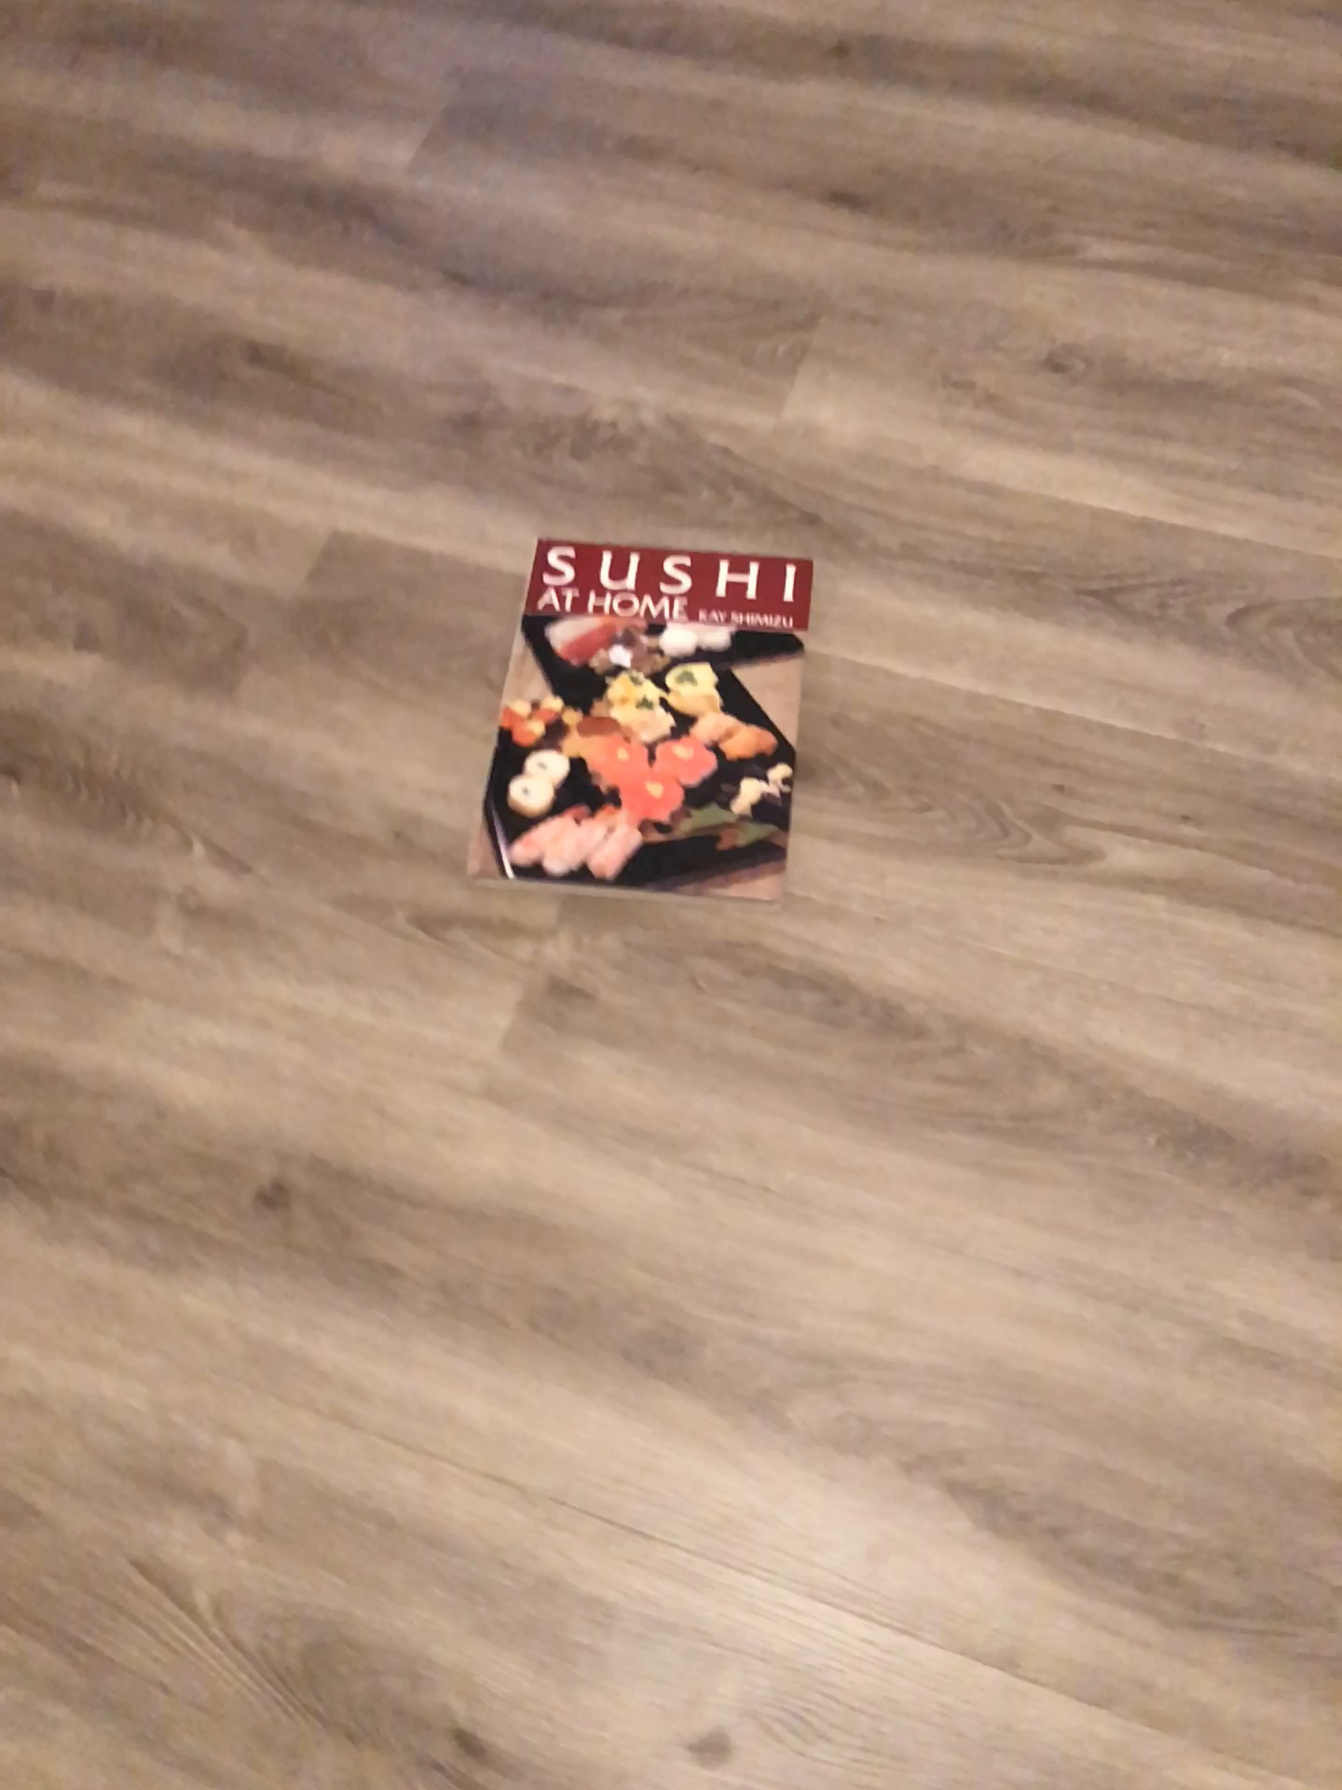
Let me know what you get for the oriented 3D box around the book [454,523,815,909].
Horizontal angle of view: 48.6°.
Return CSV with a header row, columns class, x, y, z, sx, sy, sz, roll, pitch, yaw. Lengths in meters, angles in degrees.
class,x,y,z,sx,sy,sz,roll,pitch,yaw
book,-0.015,-0.118,0.917,0.190,0.030,0.259,5,60,5
